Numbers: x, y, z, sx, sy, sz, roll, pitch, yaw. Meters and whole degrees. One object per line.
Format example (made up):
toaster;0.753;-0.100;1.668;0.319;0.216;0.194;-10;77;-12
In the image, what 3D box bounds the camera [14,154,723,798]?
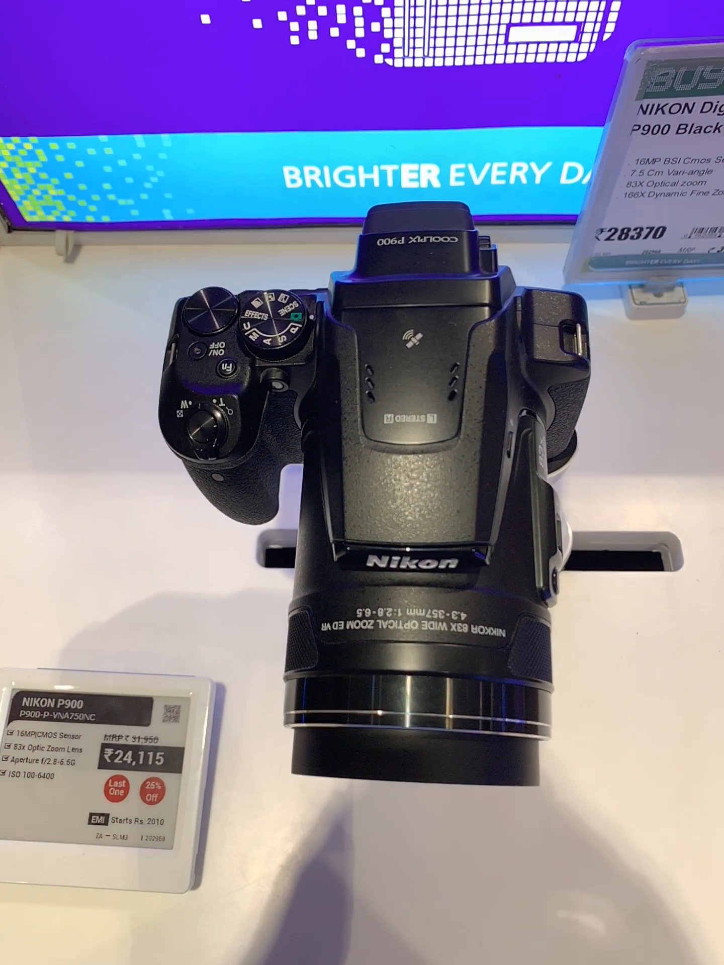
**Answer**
camera;0.006;0.001;0.215;0.140;0.090;0.160;0;64;2
